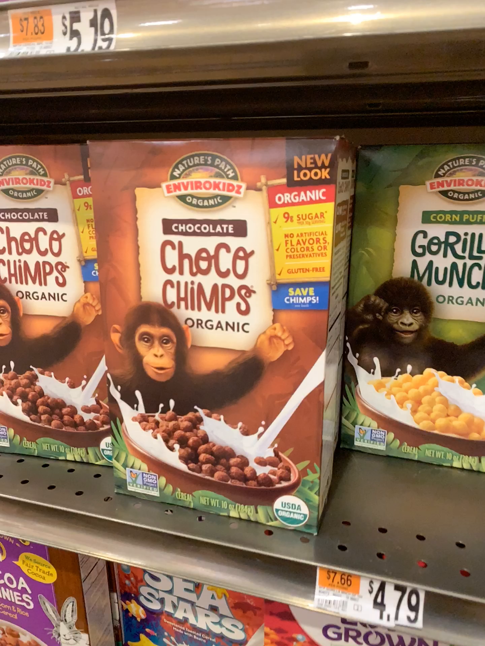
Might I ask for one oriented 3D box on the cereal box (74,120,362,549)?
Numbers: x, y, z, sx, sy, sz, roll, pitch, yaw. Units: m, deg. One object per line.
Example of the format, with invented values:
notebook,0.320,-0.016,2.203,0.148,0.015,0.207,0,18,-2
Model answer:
cereal box,-0.015,0.007,0.347,0.170,0.269,0.060,5,17,16
